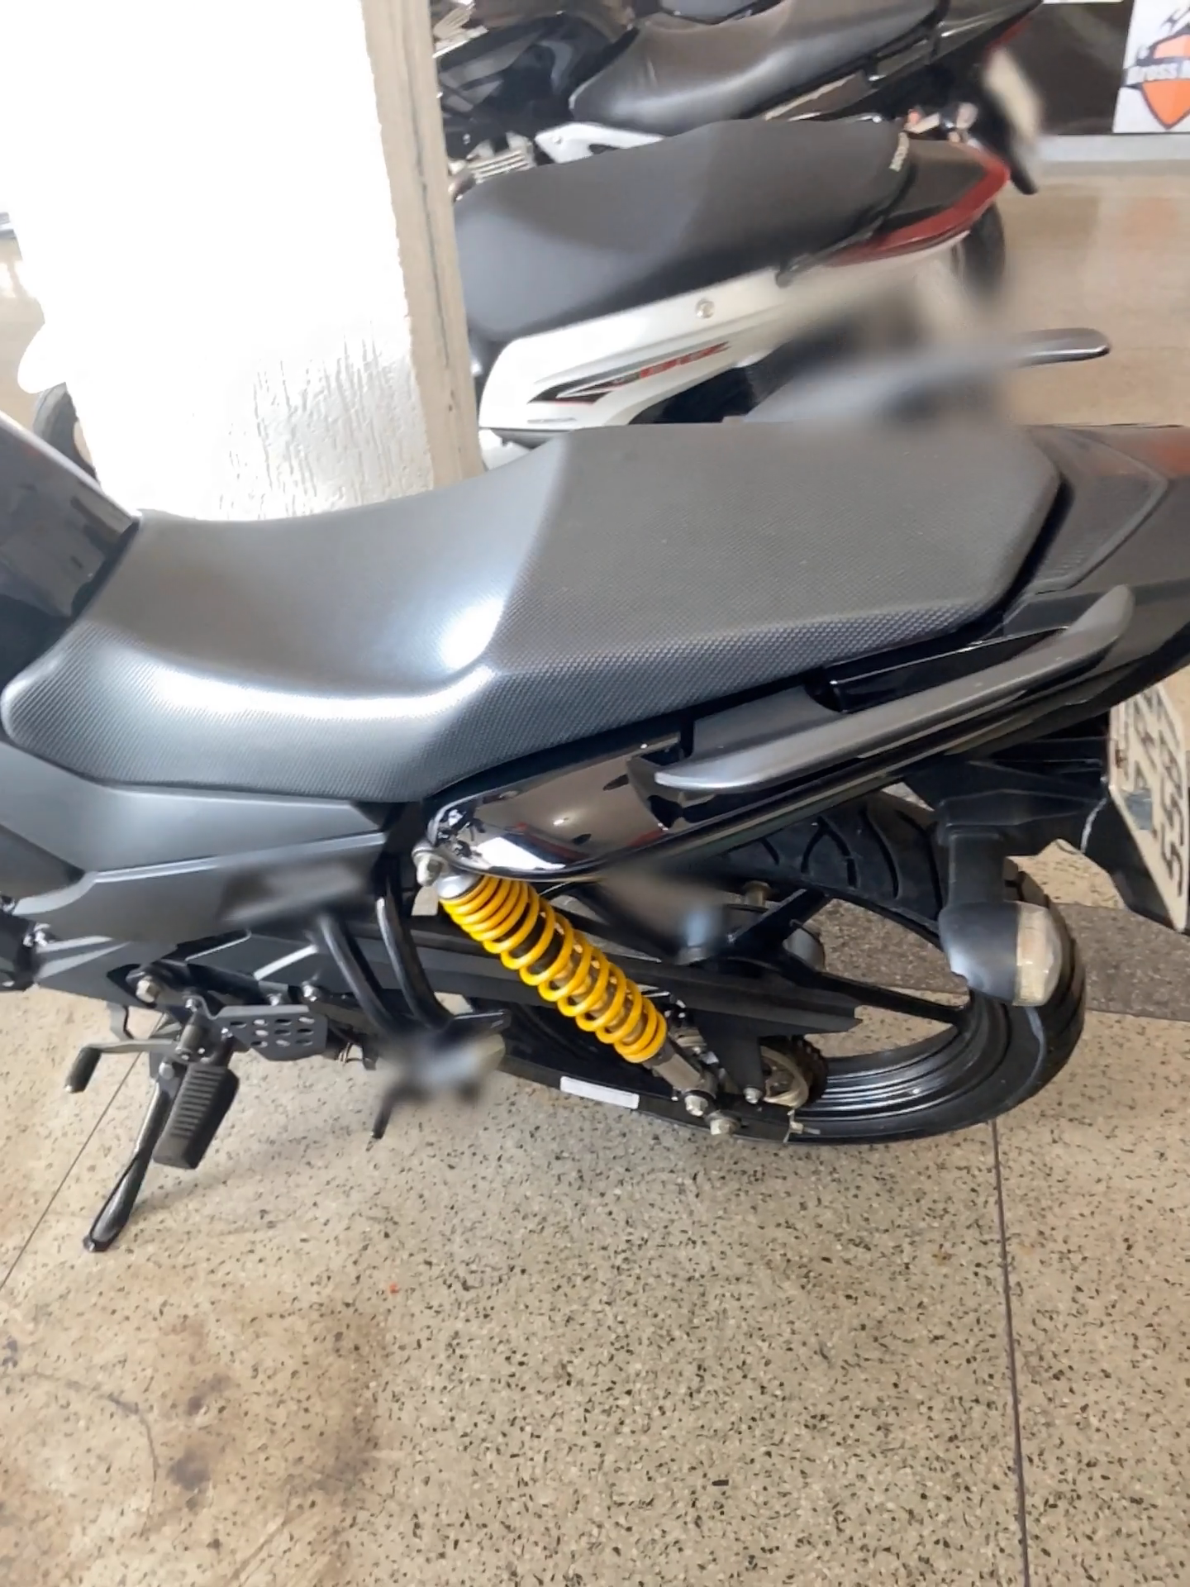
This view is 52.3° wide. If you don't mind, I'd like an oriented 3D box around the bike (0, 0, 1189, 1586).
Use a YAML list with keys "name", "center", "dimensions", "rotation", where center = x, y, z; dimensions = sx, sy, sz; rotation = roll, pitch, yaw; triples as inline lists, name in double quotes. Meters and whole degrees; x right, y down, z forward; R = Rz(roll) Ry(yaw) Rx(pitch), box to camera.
- name: "bike"
  center: [-0.458, 0.101, 1.011]
  dimensions: [2.002, 1.331, 0.820]
  rotation: [0, 39, 6]
